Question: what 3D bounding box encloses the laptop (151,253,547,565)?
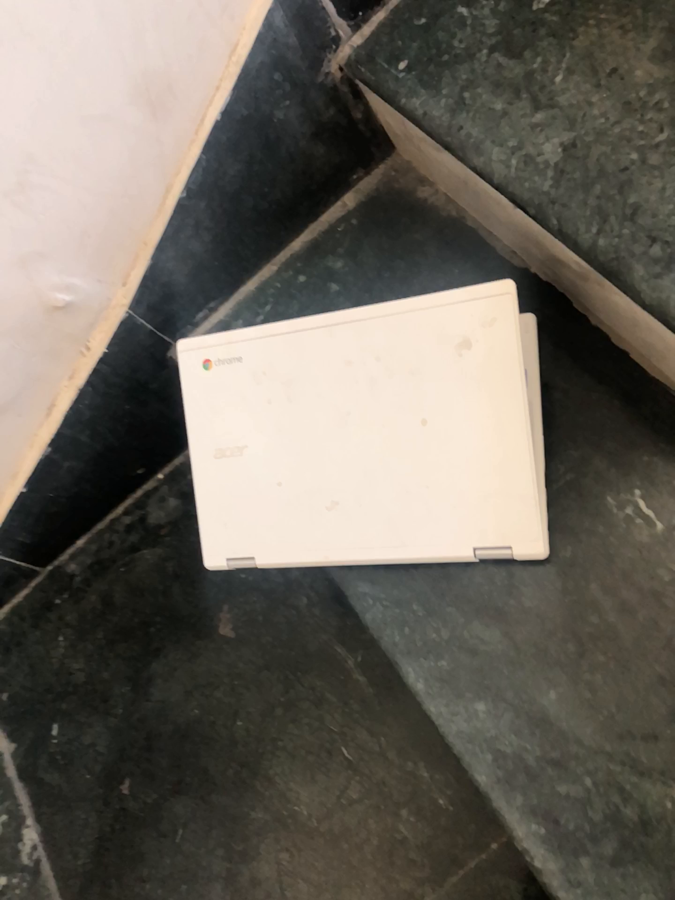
[{"bbox_3d":[0.004,-0.018,0.582,0.282,0.091,0.190,-6,72,22],"label":"laptop"}]
